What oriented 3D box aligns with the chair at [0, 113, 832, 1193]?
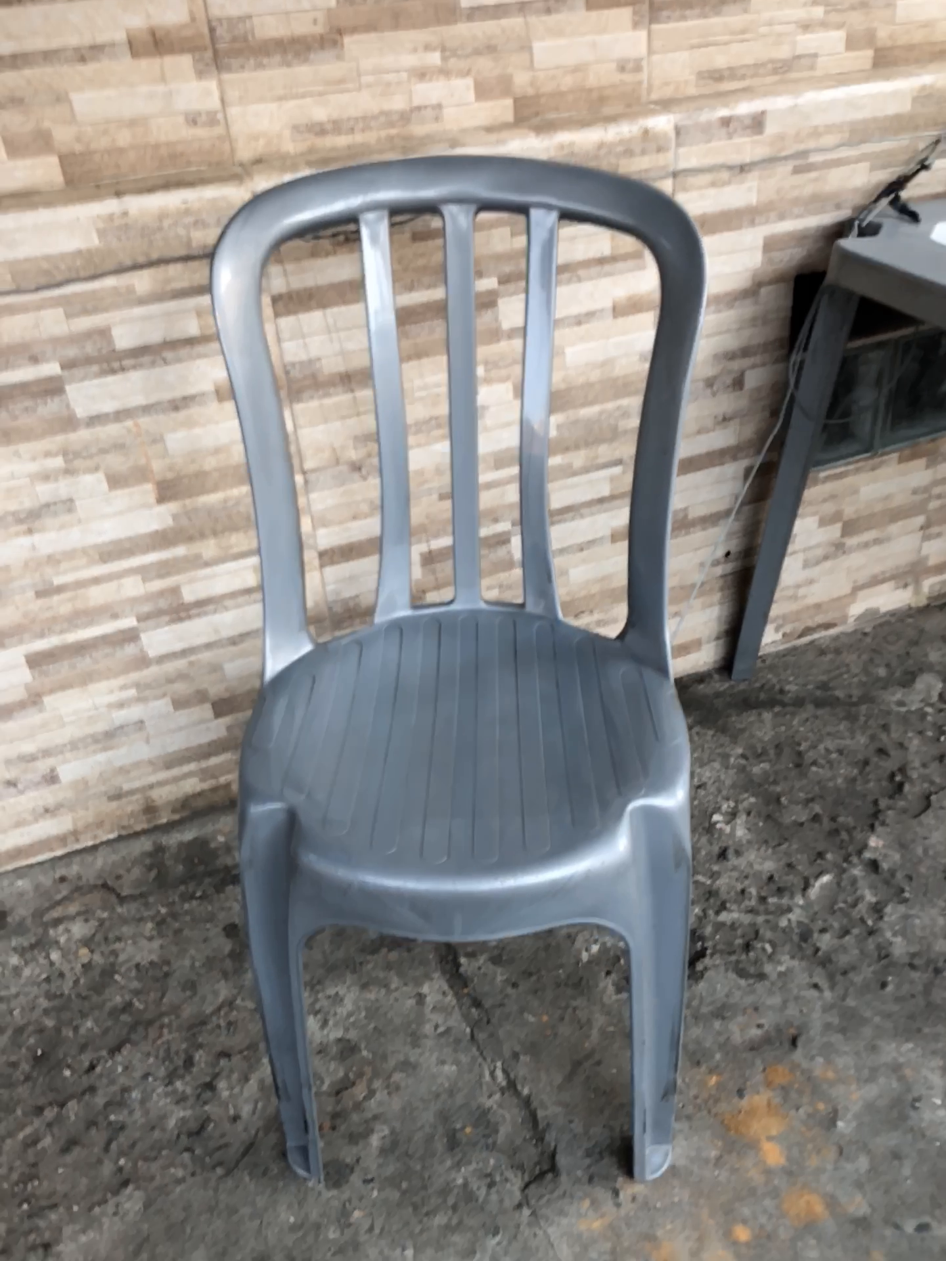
[{"bbox_3d":[-0.010,0.041,0.956,0.440,0.834,0.503,-2,34,4],"label":"chair"}]
